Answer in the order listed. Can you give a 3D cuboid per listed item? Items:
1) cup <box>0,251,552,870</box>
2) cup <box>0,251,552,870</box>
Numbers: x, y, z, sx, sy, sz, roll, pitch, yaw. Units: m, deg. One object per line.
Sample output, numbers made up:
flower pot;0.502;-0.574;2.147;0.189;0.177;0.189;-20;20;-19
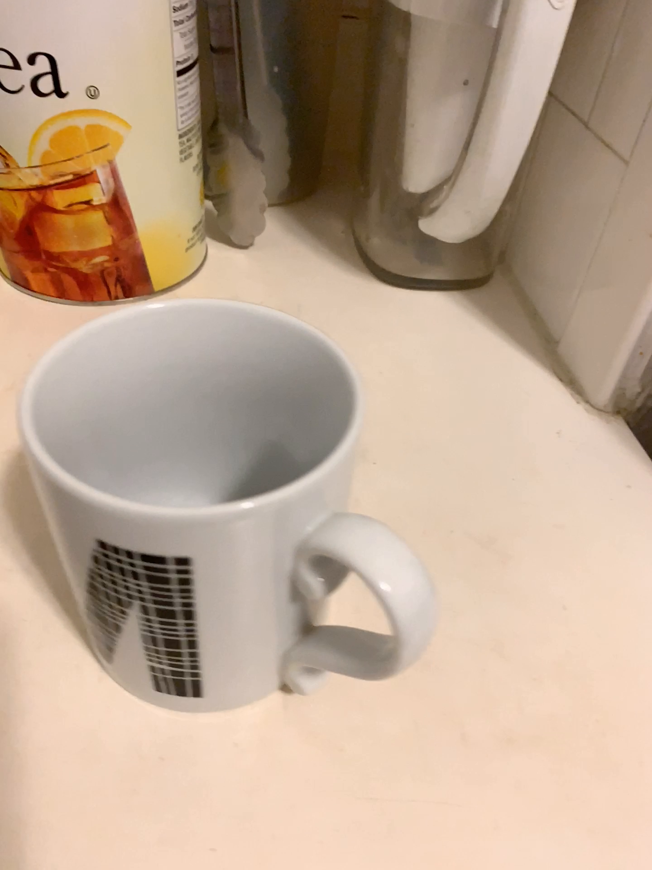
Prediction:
cup;-0.026;0.031;0.214;0.130;0.109;0.100;32;48;25
cup;-0.026;0.031;0.214;0.130;0.109;0.100;32;48;25
